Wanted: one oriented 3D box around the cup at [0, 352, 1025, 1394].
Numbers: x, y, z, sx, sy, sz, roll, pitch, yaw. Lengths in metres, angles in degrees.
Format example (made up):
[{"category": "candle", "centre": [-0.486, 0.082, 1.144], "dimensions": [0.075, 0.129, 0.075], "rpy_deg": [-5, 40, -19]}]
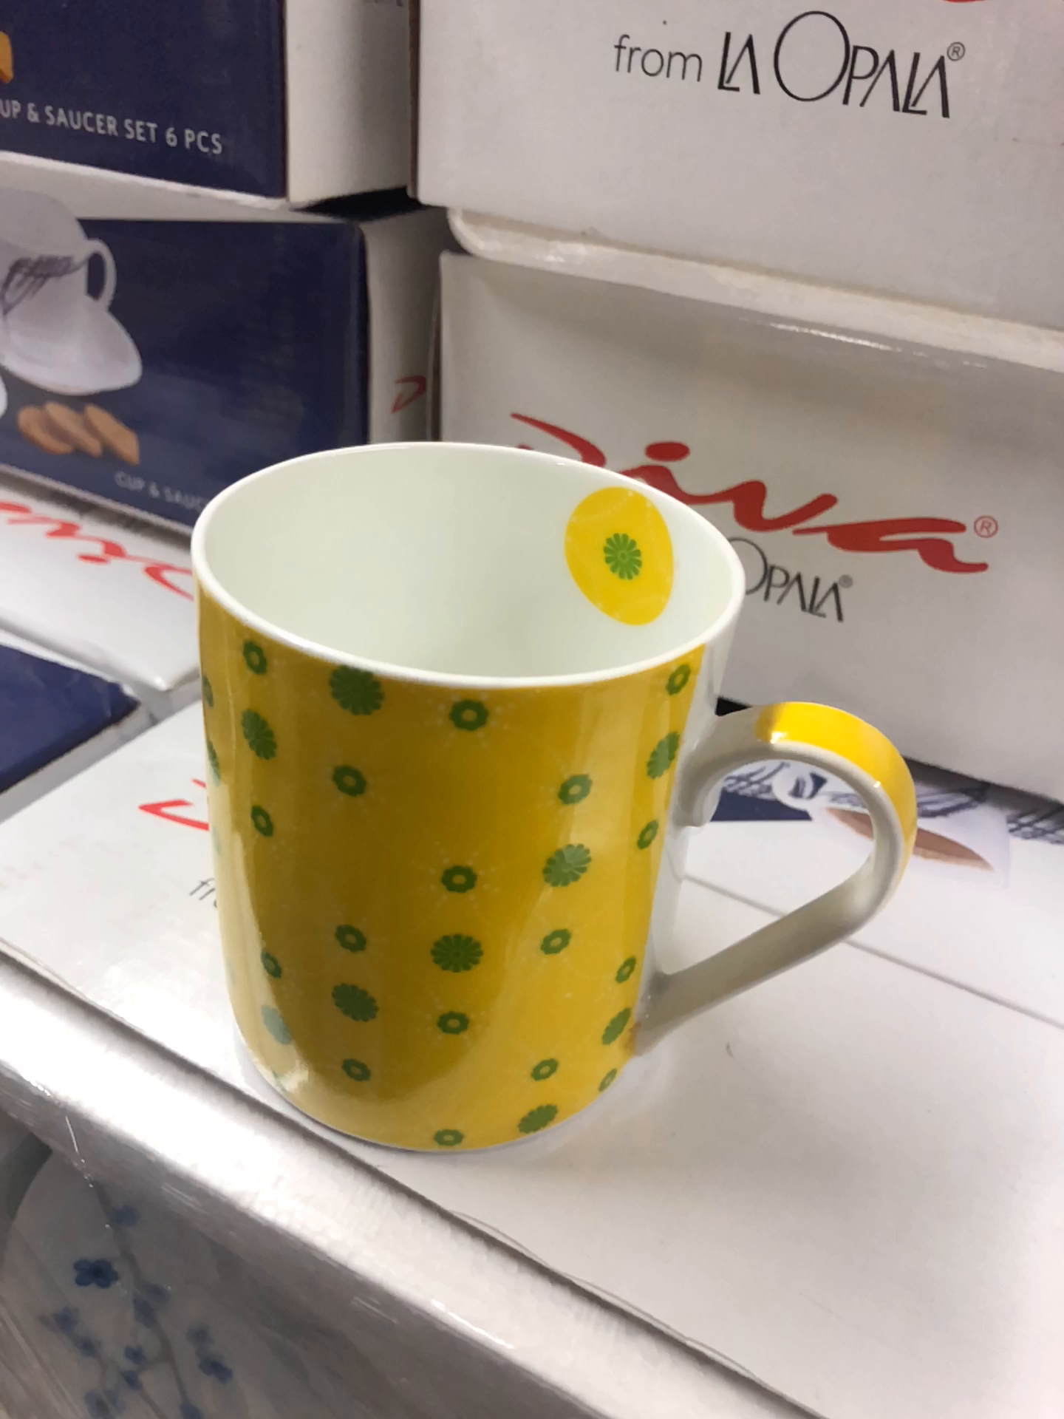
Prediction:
[{"category": "cup", "centre": [-0.001, 0.012, 0.152], "dimensions": [0.090, 0.079, 0.070], "rpy_deg": [19, 37, 20]}]
